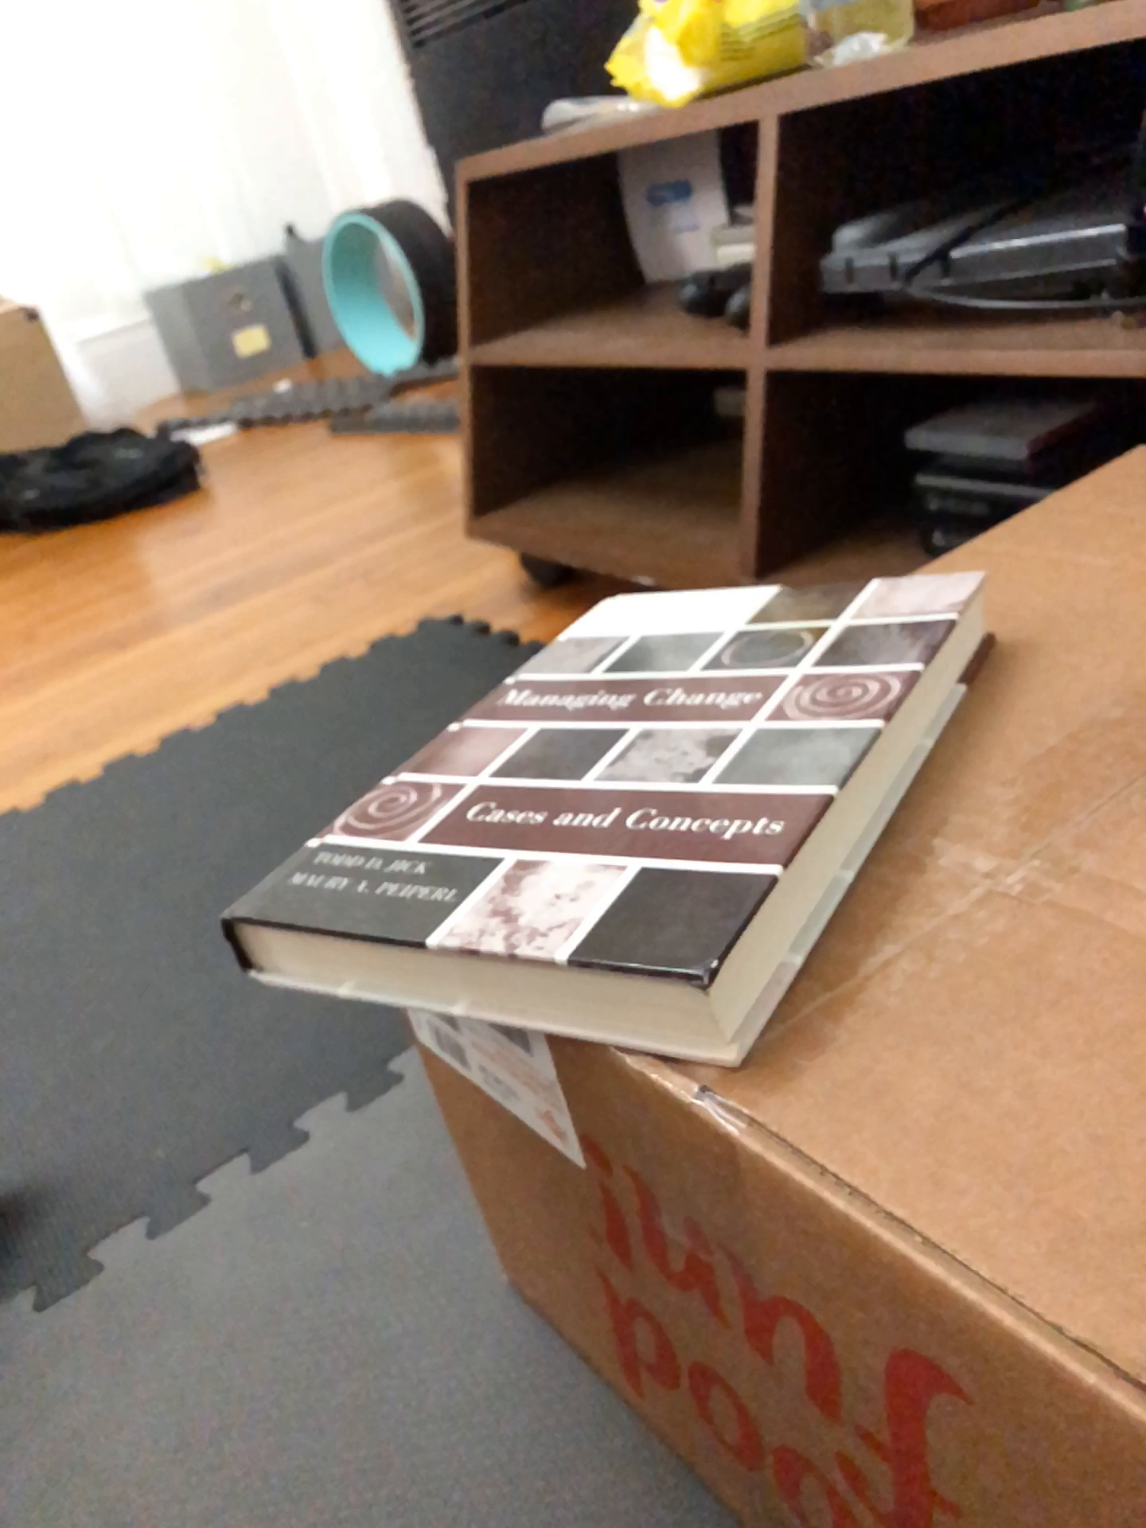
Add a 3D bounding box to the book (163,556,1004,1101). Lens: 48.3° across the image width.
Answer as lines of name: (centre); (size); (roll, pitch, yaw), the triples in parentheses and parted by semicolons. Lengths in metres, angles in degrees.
book: (0.019, -0.002, 0.425); (0.180, 0.030, 0.251); (3, 32, 33)
